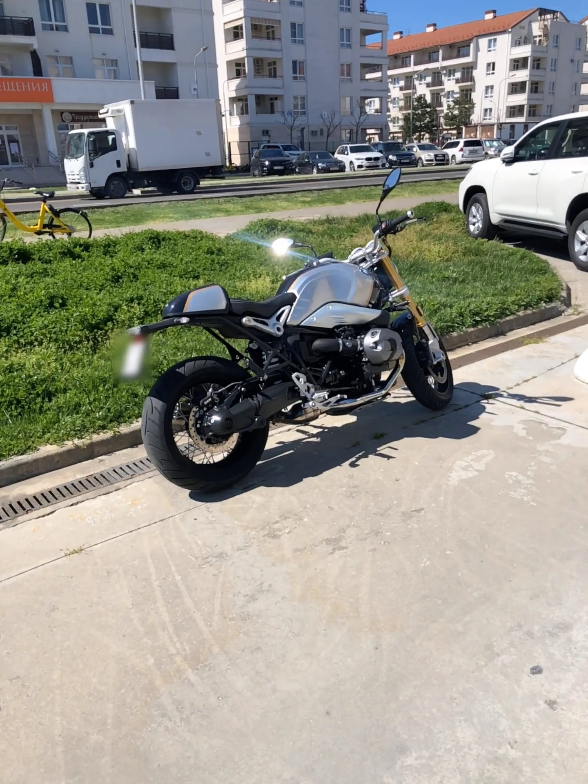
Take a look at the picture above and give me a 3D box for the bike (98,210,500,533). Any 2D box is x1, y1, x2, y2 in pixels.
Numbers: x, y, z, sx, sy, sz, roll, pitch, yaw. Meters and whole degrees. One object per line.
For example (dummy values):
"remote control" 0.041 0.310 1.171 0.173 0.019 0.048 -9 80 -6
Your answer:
"bike" 0.183 -0.278 3.361 2.072 1.122 0.648 -20 26 -40
